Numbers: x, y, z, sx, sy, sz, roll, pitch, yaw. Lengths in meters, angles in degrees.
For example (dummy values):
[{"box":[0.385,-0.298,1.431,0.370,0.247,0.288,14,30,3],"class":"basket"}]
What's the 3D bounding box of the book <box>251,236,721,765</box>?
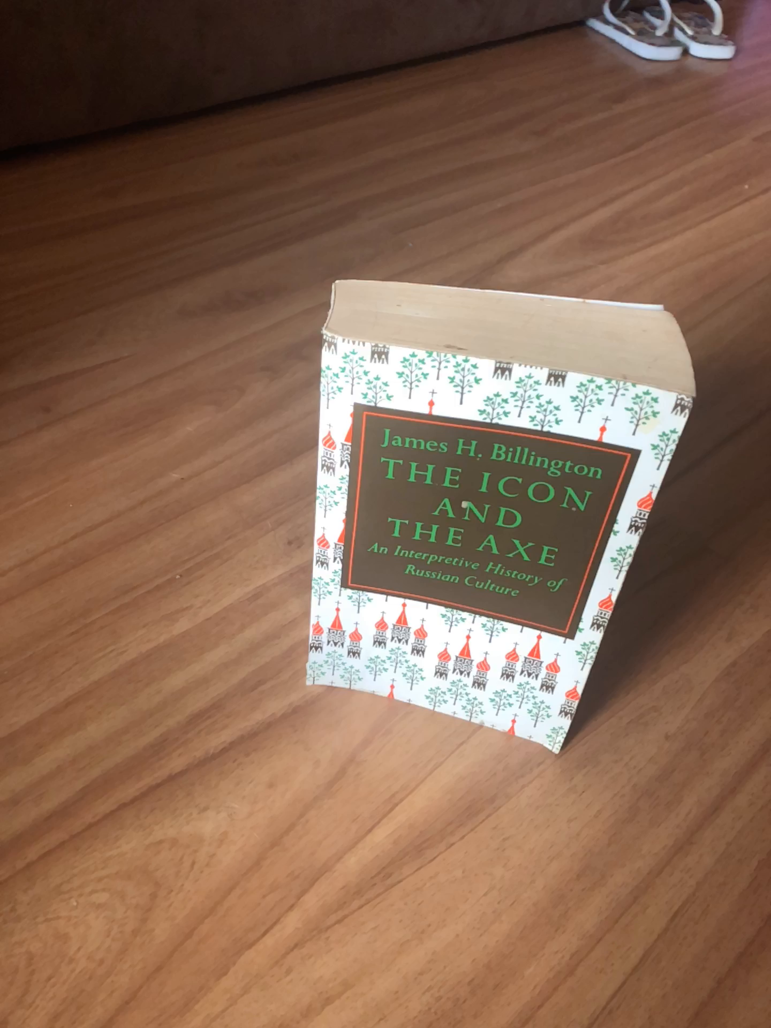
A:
[{"box":[0.028,0.005,0.354,0.150,0.199,0.060,12,41,7],"class":"book"}]
